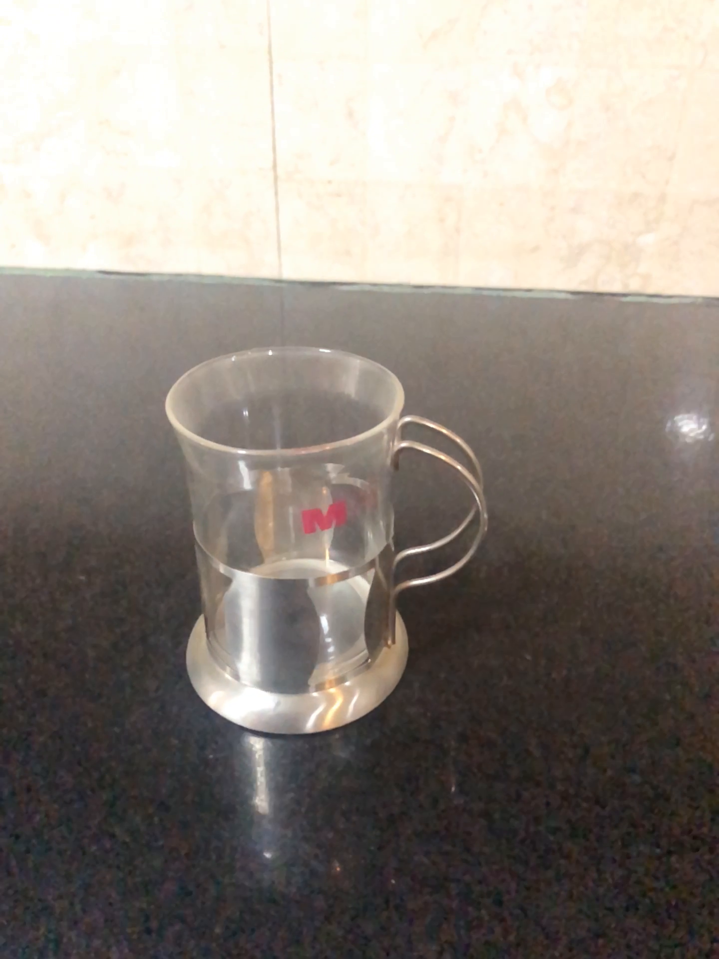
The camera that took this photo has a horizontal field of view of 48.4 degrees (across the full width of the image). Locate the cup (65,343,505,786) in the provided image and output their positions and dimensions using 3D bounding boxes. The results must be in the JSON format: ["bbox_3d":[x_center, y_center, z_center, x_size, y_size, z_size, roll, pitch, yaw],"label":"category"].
[{"bbox_3d":[-0.016,0.025,0.260,0.110,0.109,0.081,3,32,4],"label":"cup"}]
